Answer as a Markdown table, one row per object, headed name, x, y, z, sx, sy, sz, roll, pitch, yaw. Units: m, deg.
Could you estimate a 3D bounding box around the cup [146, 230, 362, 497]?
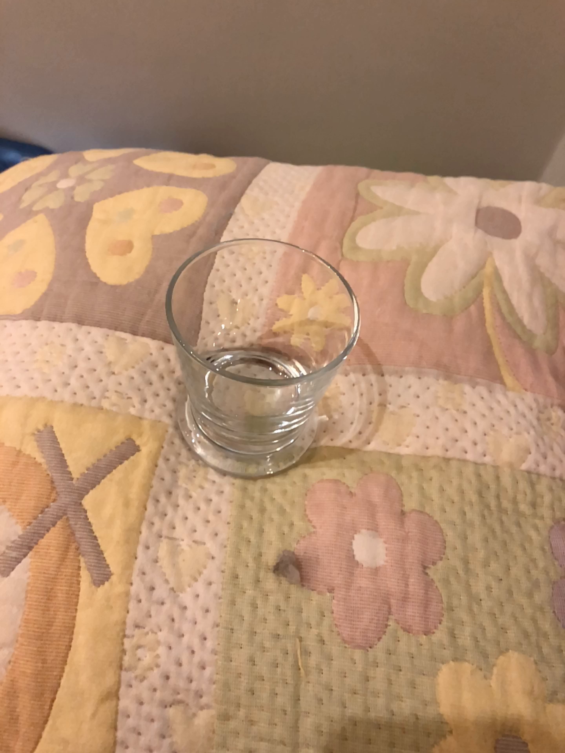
| name | x | y | z | sx | sy | sz | roll | pitch | yaw |
| --- | --- | --- | --- | --- | --- | --- | --- | --- | --- |
| cup | -0.017 | -0.002 | 0.289 | 0.080 | 0.089 | 0.080 | 5 | 54 | -8 |
